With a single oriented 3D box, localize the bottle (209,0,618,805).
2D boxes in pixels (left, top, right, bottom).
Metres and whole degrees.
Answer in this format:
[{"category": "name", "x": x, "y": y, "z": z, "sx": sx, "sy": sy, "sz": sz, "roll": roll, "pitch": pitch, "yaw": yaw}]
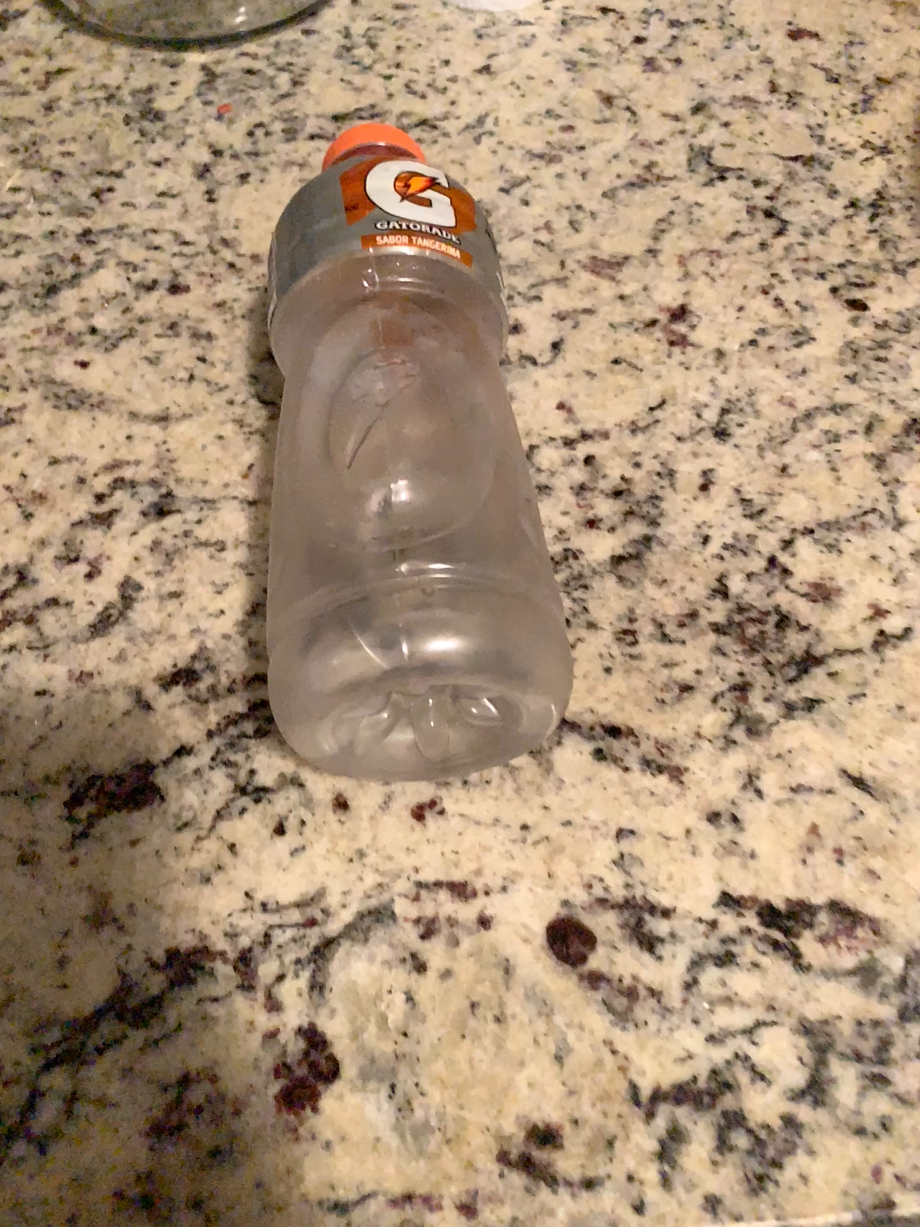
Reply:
[{"category": "bottle", "x": -0.018, "y": -0.071, "z": 0.249, "sx": 0.070, "sy": 0.070, "sz": 0.221, "roll": -6, "pitch": 59, "yaw": -2}]
